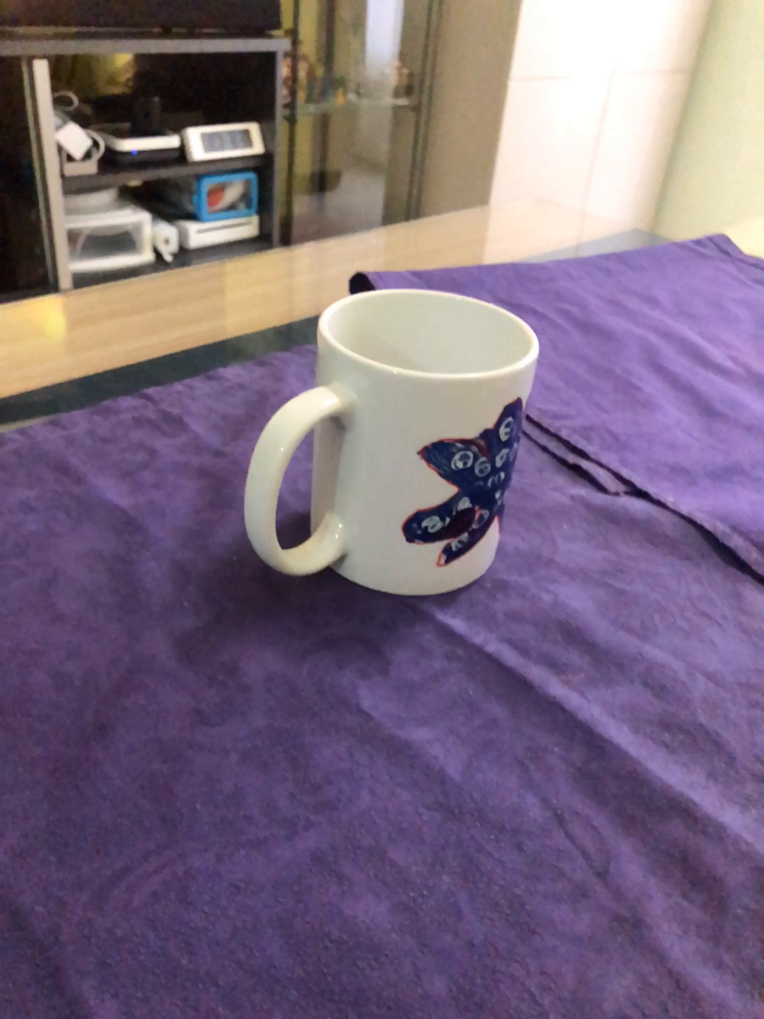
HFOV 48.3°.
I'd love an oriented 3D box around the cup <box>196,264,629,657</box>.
[{"bbox_3d":[0.010,-0.027,0.320,0.130,0.090,0.080,-21,42,-34],"label":"cup"}]
